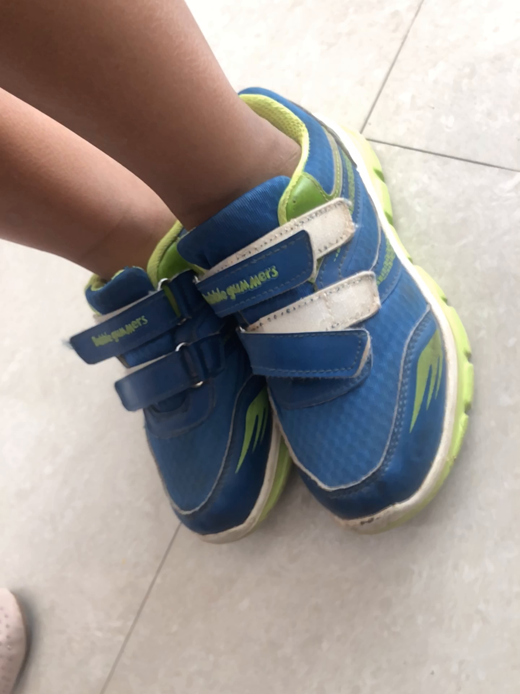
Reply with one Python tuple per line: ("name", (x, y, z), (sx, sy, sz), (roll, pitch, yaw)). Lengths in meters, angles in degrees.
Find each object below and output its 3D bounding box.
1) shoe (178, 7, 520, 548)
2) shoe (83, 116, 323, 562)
("shoe", (0.029, -0.032, 0.269), (0.090, 0.060, 0.220), (-25, 64, 30))
("shoe", (-0.040, -0.005, 0.327), (0.090, 0.060, 0.220), (-23, 65, 31))
